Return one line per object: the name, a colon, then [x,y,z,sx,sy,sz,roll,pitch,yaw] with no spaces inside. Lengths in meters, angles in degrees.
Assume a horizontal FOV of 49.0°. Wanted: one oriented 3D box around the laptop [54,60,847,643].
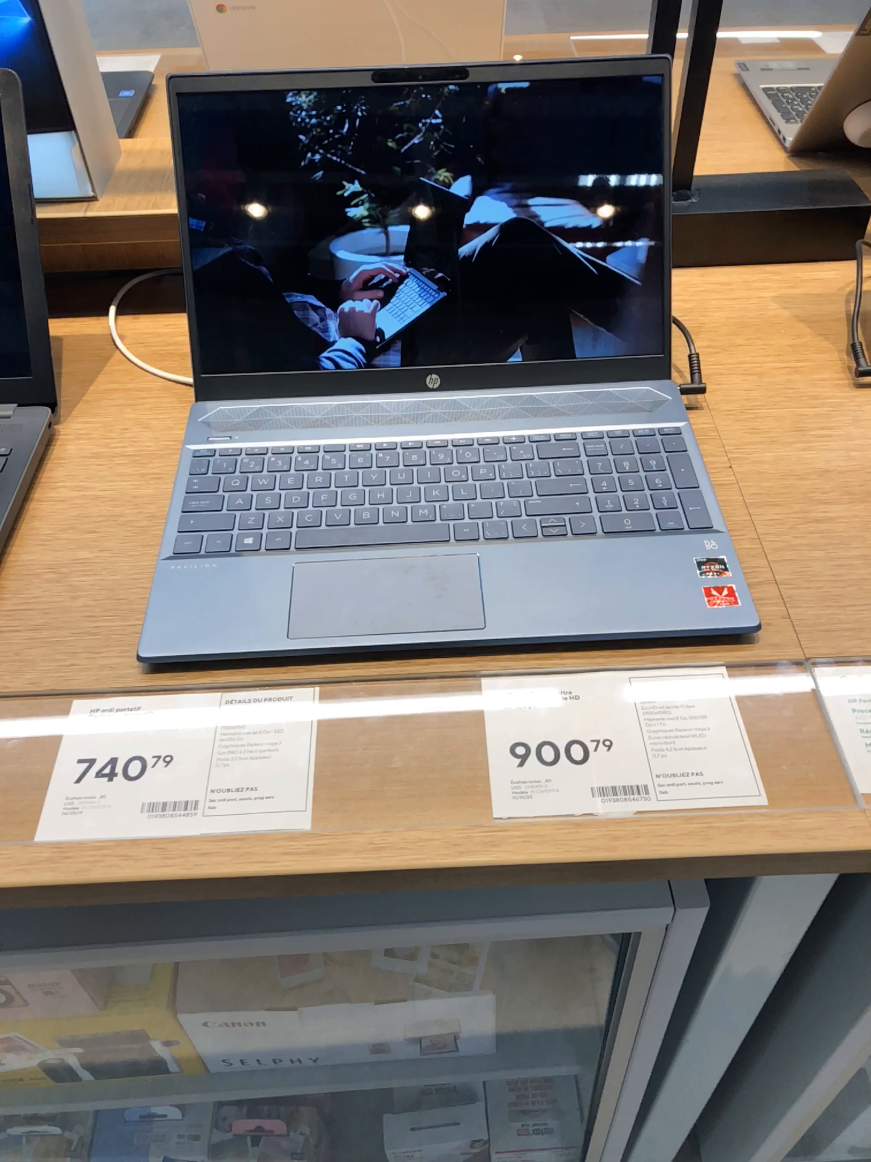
laptop: [0.002,-0.164,0.599,0.338,0.184,0.357,-3,45,-2]
